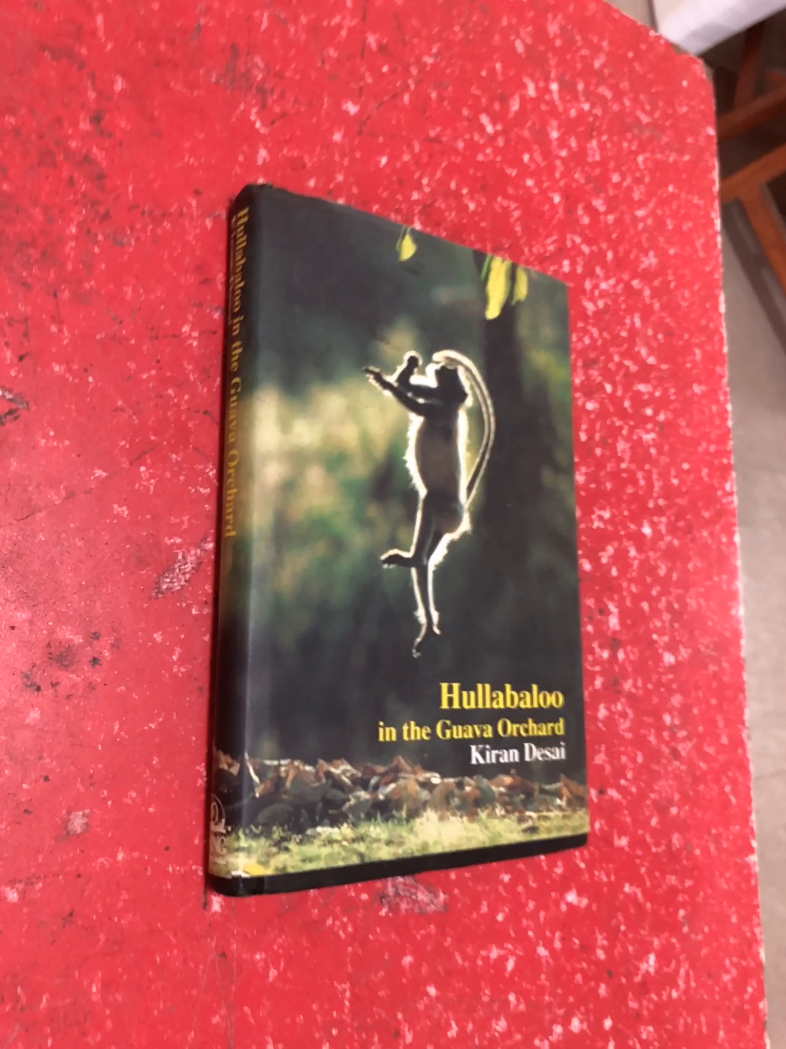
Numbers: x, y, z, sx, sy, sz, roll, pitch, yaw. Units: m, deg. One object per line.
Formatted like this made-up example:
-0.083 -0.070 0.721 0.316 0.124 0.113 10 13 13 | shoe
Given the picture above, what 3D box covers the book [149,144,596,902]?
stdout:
0.000 0.000 0.319 0.161 0.030 0.230 7 77 -33 | book
